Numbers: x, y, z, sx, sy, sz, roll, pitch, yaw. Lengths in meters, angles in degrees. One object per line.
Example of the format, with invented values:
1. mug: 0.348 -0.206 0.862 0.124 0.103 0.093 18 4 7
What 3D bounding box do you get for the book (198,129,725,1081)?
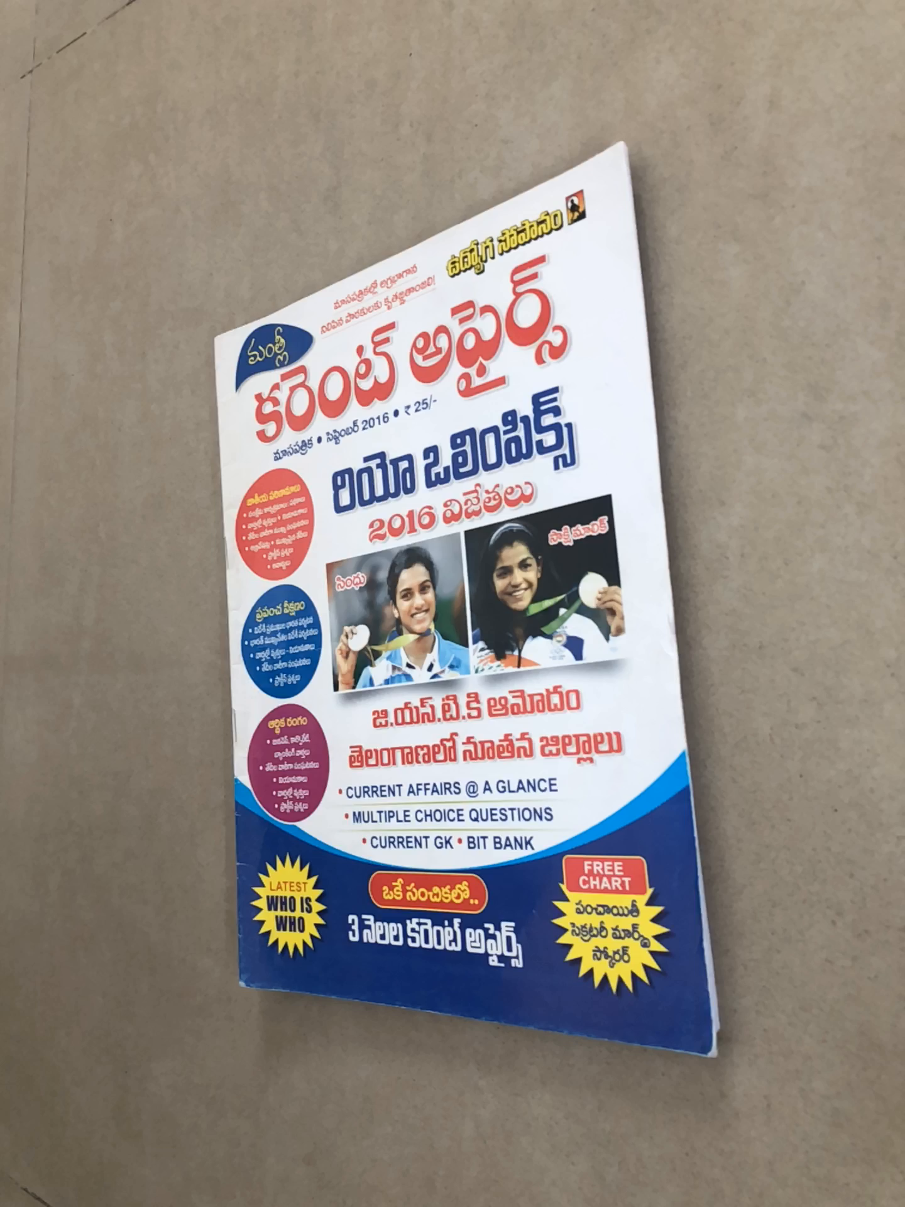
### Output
1. book: -0.017 0.006 0.338 0.201 0.010 0.260 -9 81 39
